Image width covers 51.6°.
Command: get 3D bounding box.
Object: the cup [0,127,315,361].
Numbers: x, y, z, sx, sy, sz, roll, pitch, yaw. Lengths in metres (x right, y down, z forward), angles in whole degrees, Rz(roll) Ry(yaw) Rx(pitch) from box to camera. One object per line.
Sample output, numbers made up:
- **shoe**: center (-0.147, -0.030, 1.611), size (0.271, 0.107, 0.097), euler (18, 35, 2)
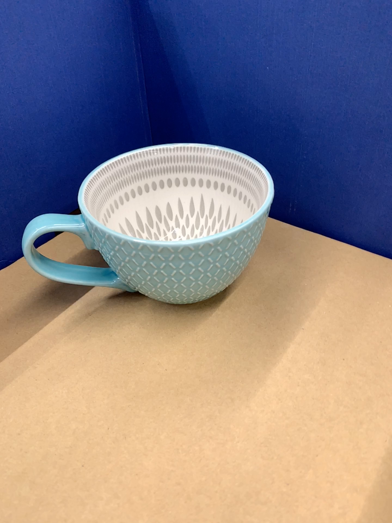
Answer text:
- **cup**: center (-0.028, -0.021, 0.251), size (0.152, 0.059, 0.113), euler (-13, 43, -12)
